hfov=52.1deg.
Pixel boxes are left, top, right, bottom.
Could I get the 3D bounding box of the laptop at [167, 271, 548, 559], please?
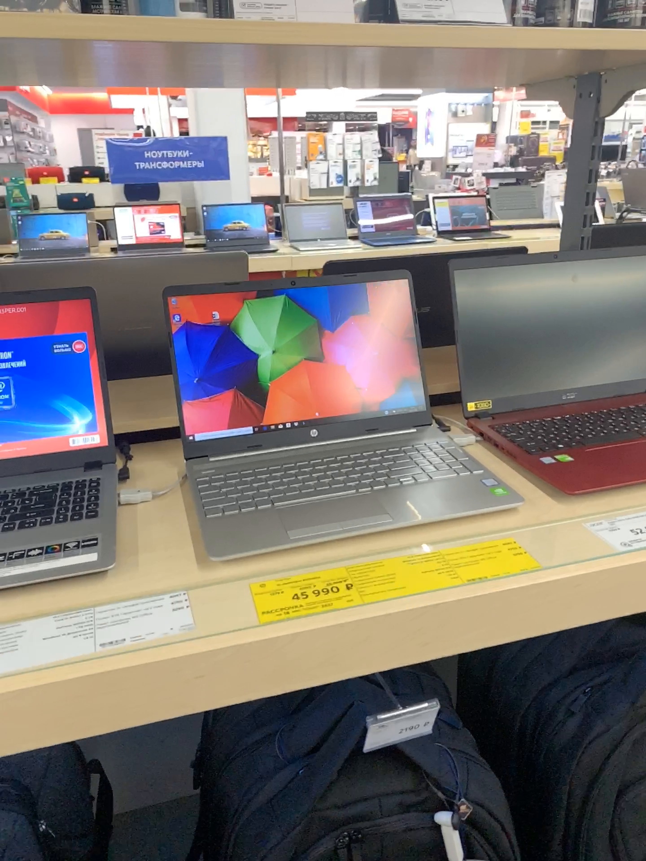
[{"bbox_3d":[0.011,-0.055,0.822,0.360,0.209,0.348,-7,23,-15],"label":"laptop"}]
